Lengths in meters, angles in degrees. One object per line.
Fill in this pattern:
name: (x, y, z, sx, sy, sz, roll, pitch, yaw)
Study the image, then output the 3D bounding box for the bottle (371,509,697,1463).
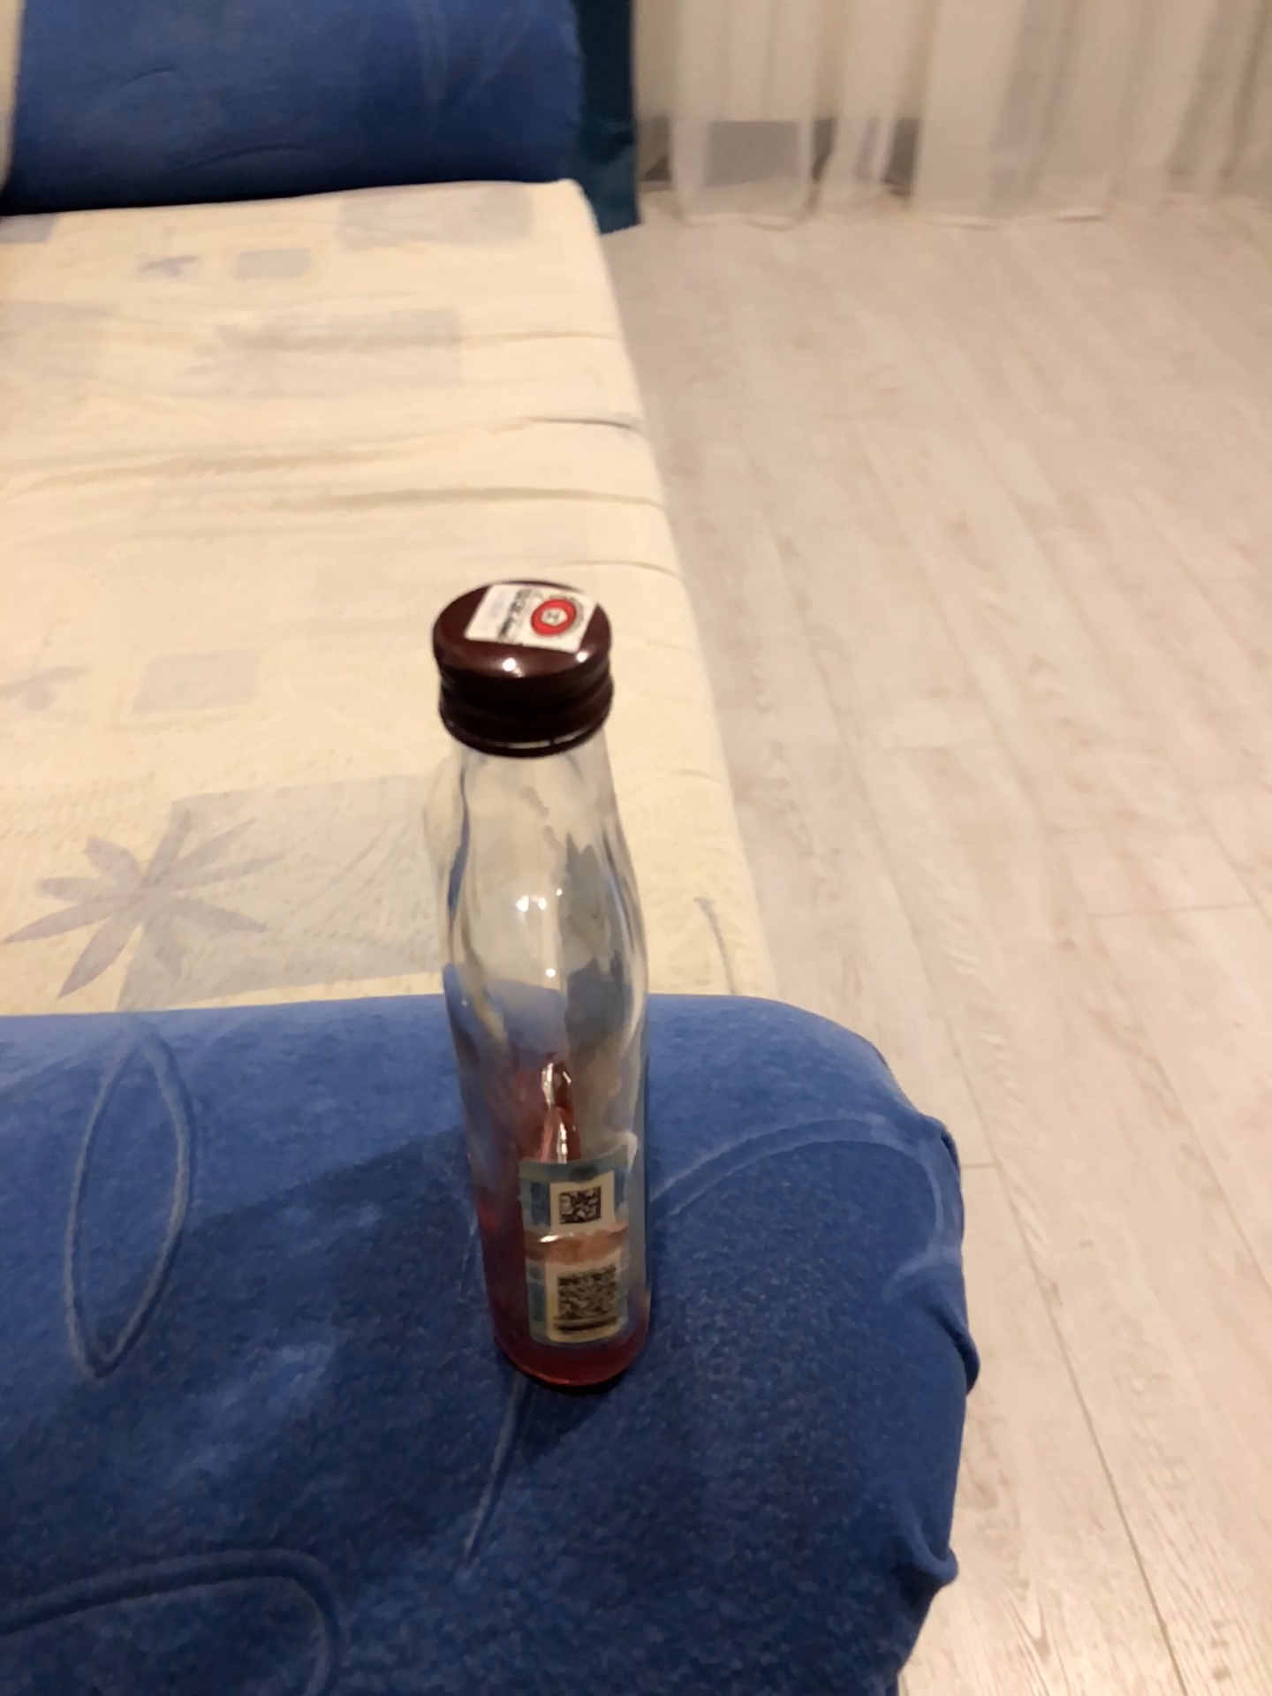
bottle: (-0.021, 0.036, 0.280, 0.040, 0.179, 0.091, -6, 44, -8)
